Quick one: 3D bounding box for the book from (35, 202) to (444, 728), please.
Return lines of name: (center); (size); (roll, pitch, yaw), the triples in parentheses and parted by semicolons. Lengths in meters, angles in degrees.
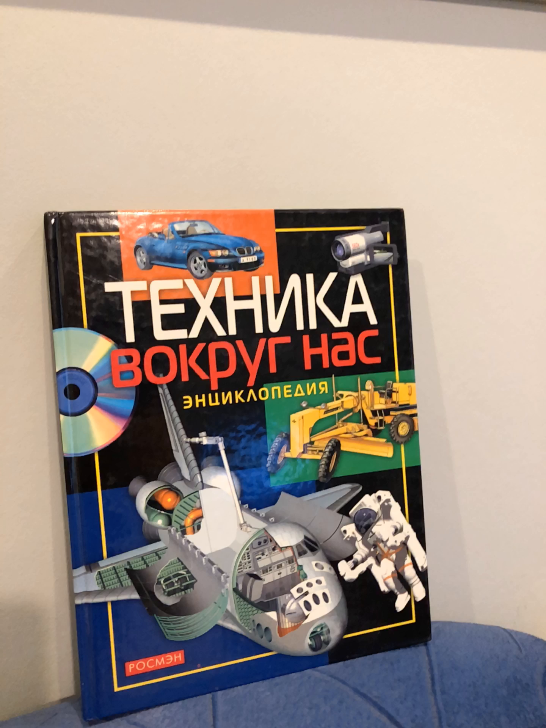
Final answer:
book: (-0.012, 0.048, 0.364); (0.220, 0.280, 0.030); (-5, 2, -16)
